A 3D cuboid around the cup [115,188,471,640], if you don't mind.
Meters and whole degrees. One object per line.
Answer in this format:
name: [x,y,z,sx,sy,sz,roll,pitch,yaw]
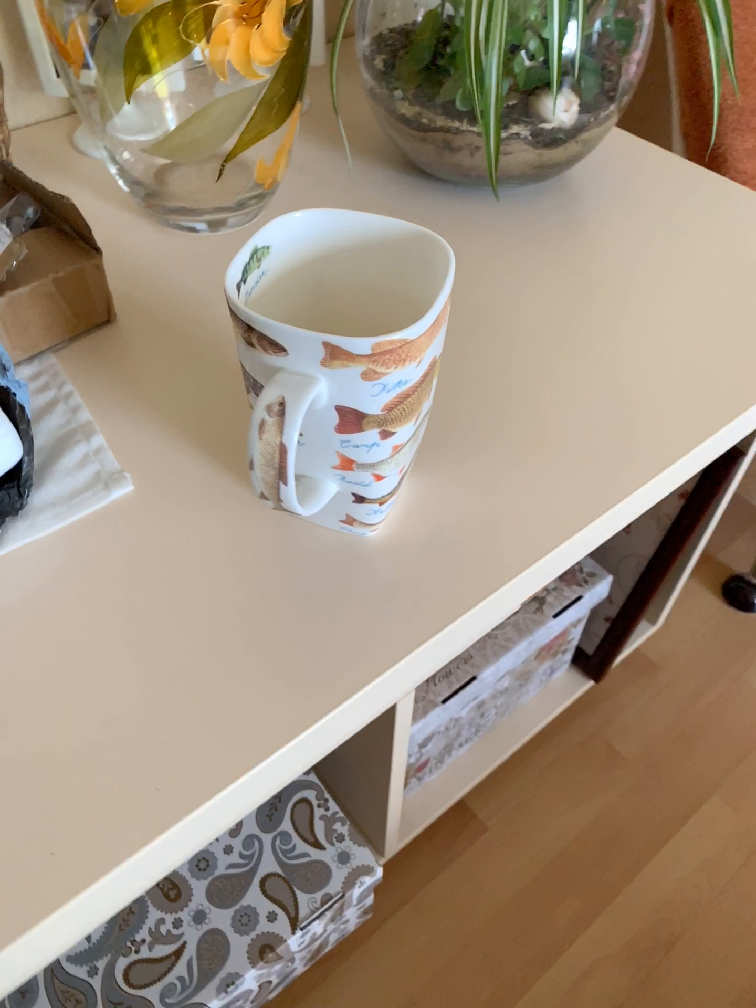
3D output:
cup: [-0.026,-0.042,0.345,0.091,0.122,0.139,14,50,11]
